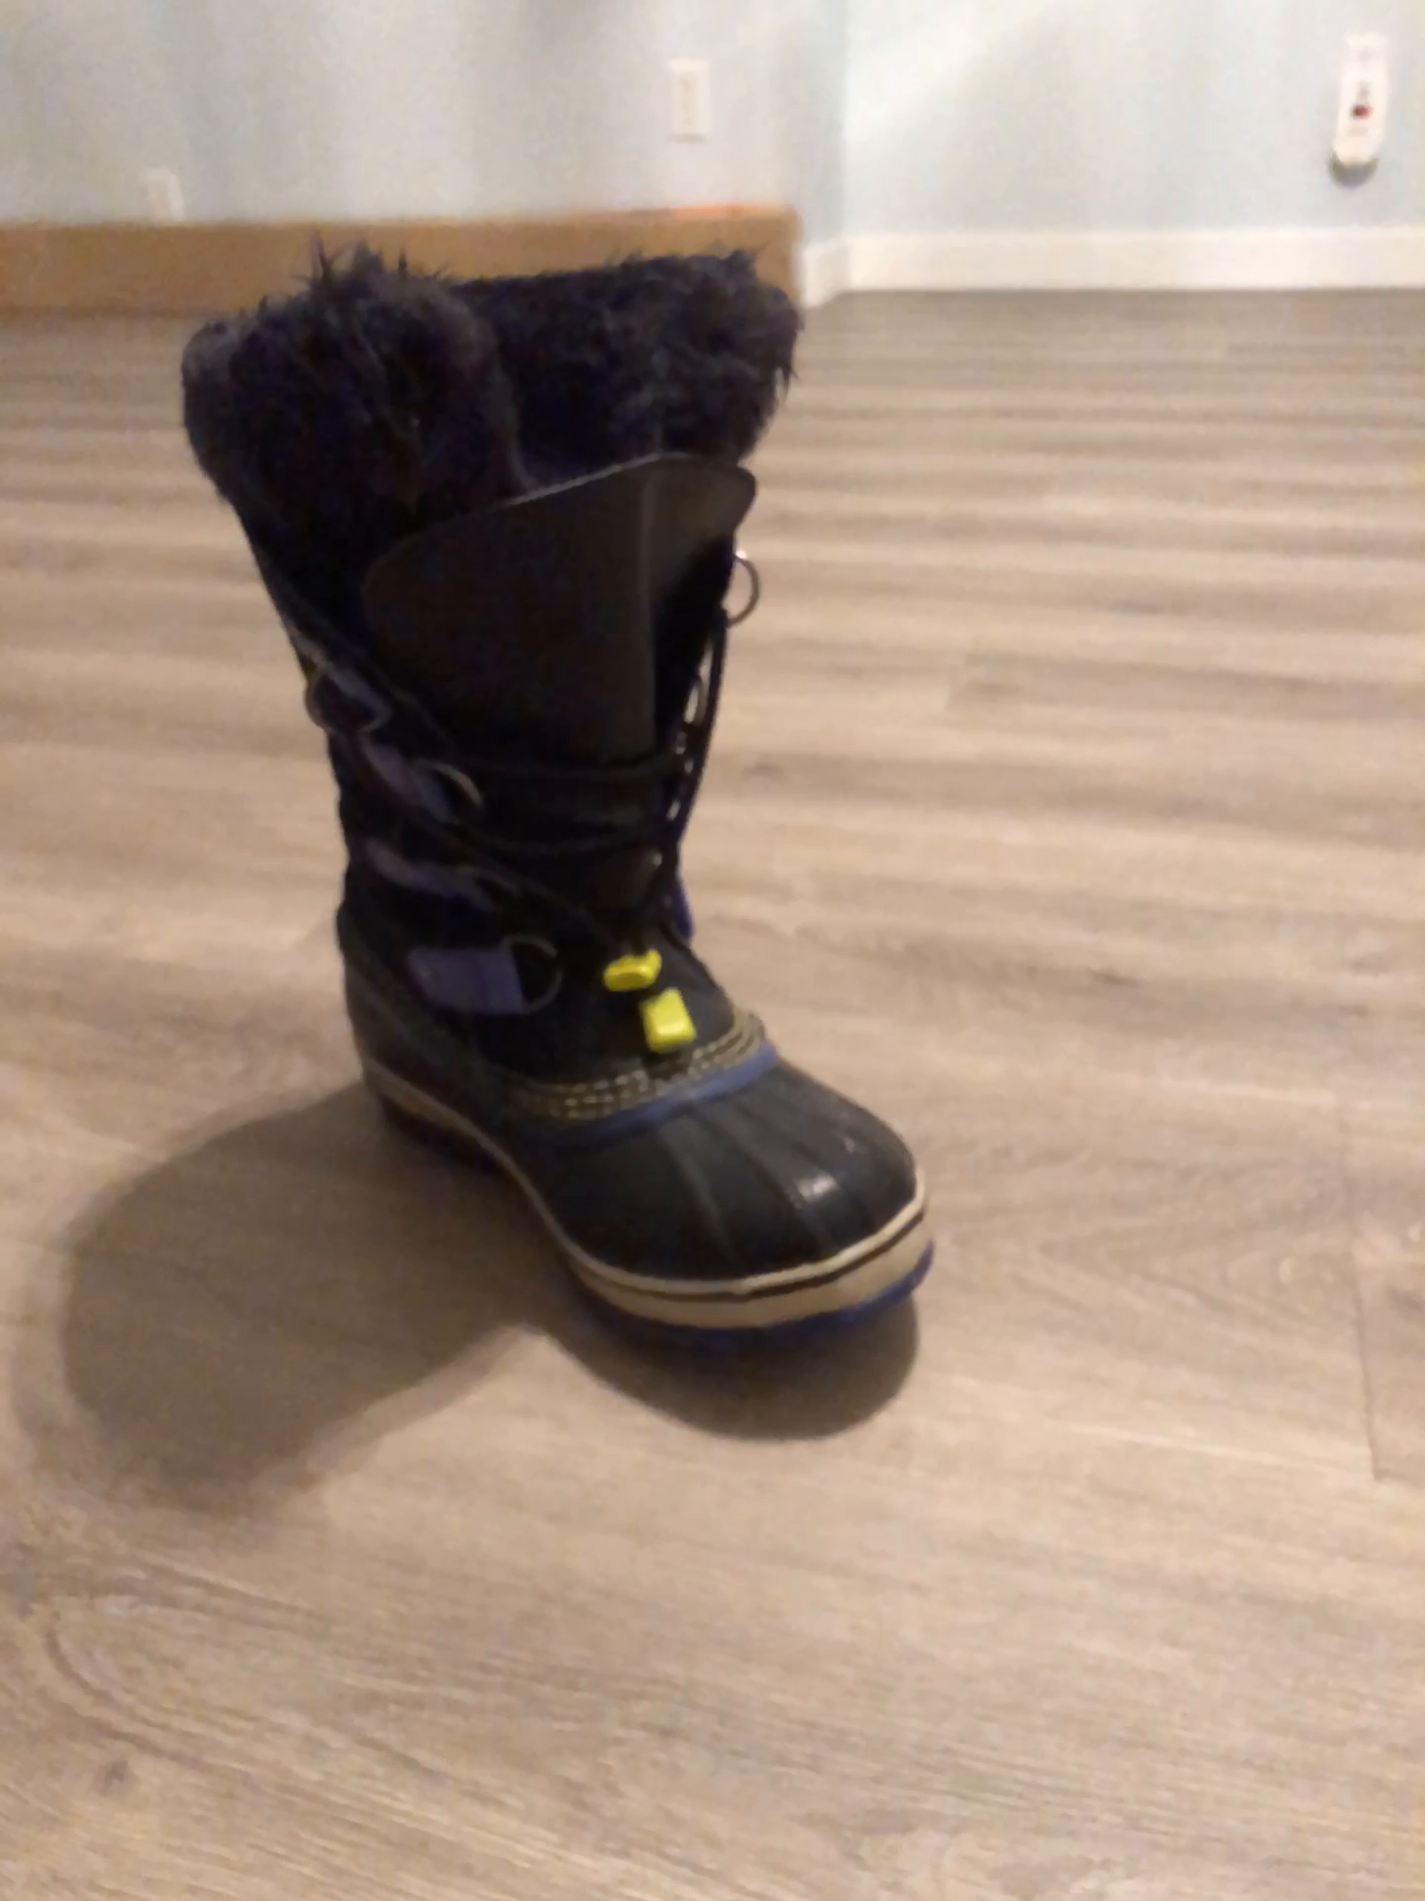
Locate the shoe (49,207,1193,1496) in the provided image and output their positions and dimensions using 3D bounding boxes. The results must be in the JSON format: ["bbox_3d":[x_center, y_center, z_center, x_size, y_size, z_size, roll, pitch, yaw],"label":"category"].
[{"bbox_3d":[-0.031,-0.056,0.454,0.170,0.269,0.241,-22,33,-34],"label":"shoe"}]
